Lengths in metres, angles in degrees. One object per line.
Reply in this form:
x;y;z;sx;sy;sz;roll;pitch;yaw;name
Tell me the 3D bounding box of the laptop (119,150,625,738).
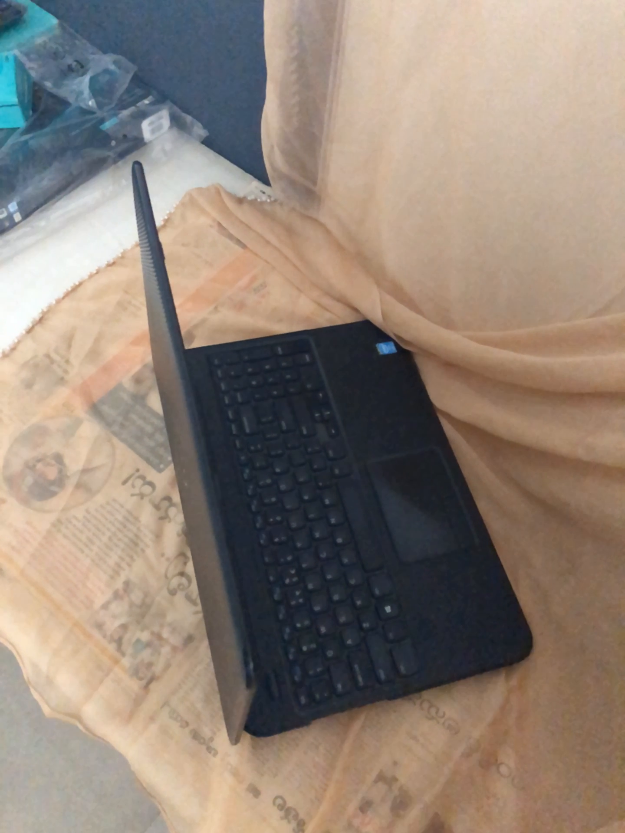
0.022;0.013;0.521;0.256;0.238;0.334;-10;60;-14;laptop
